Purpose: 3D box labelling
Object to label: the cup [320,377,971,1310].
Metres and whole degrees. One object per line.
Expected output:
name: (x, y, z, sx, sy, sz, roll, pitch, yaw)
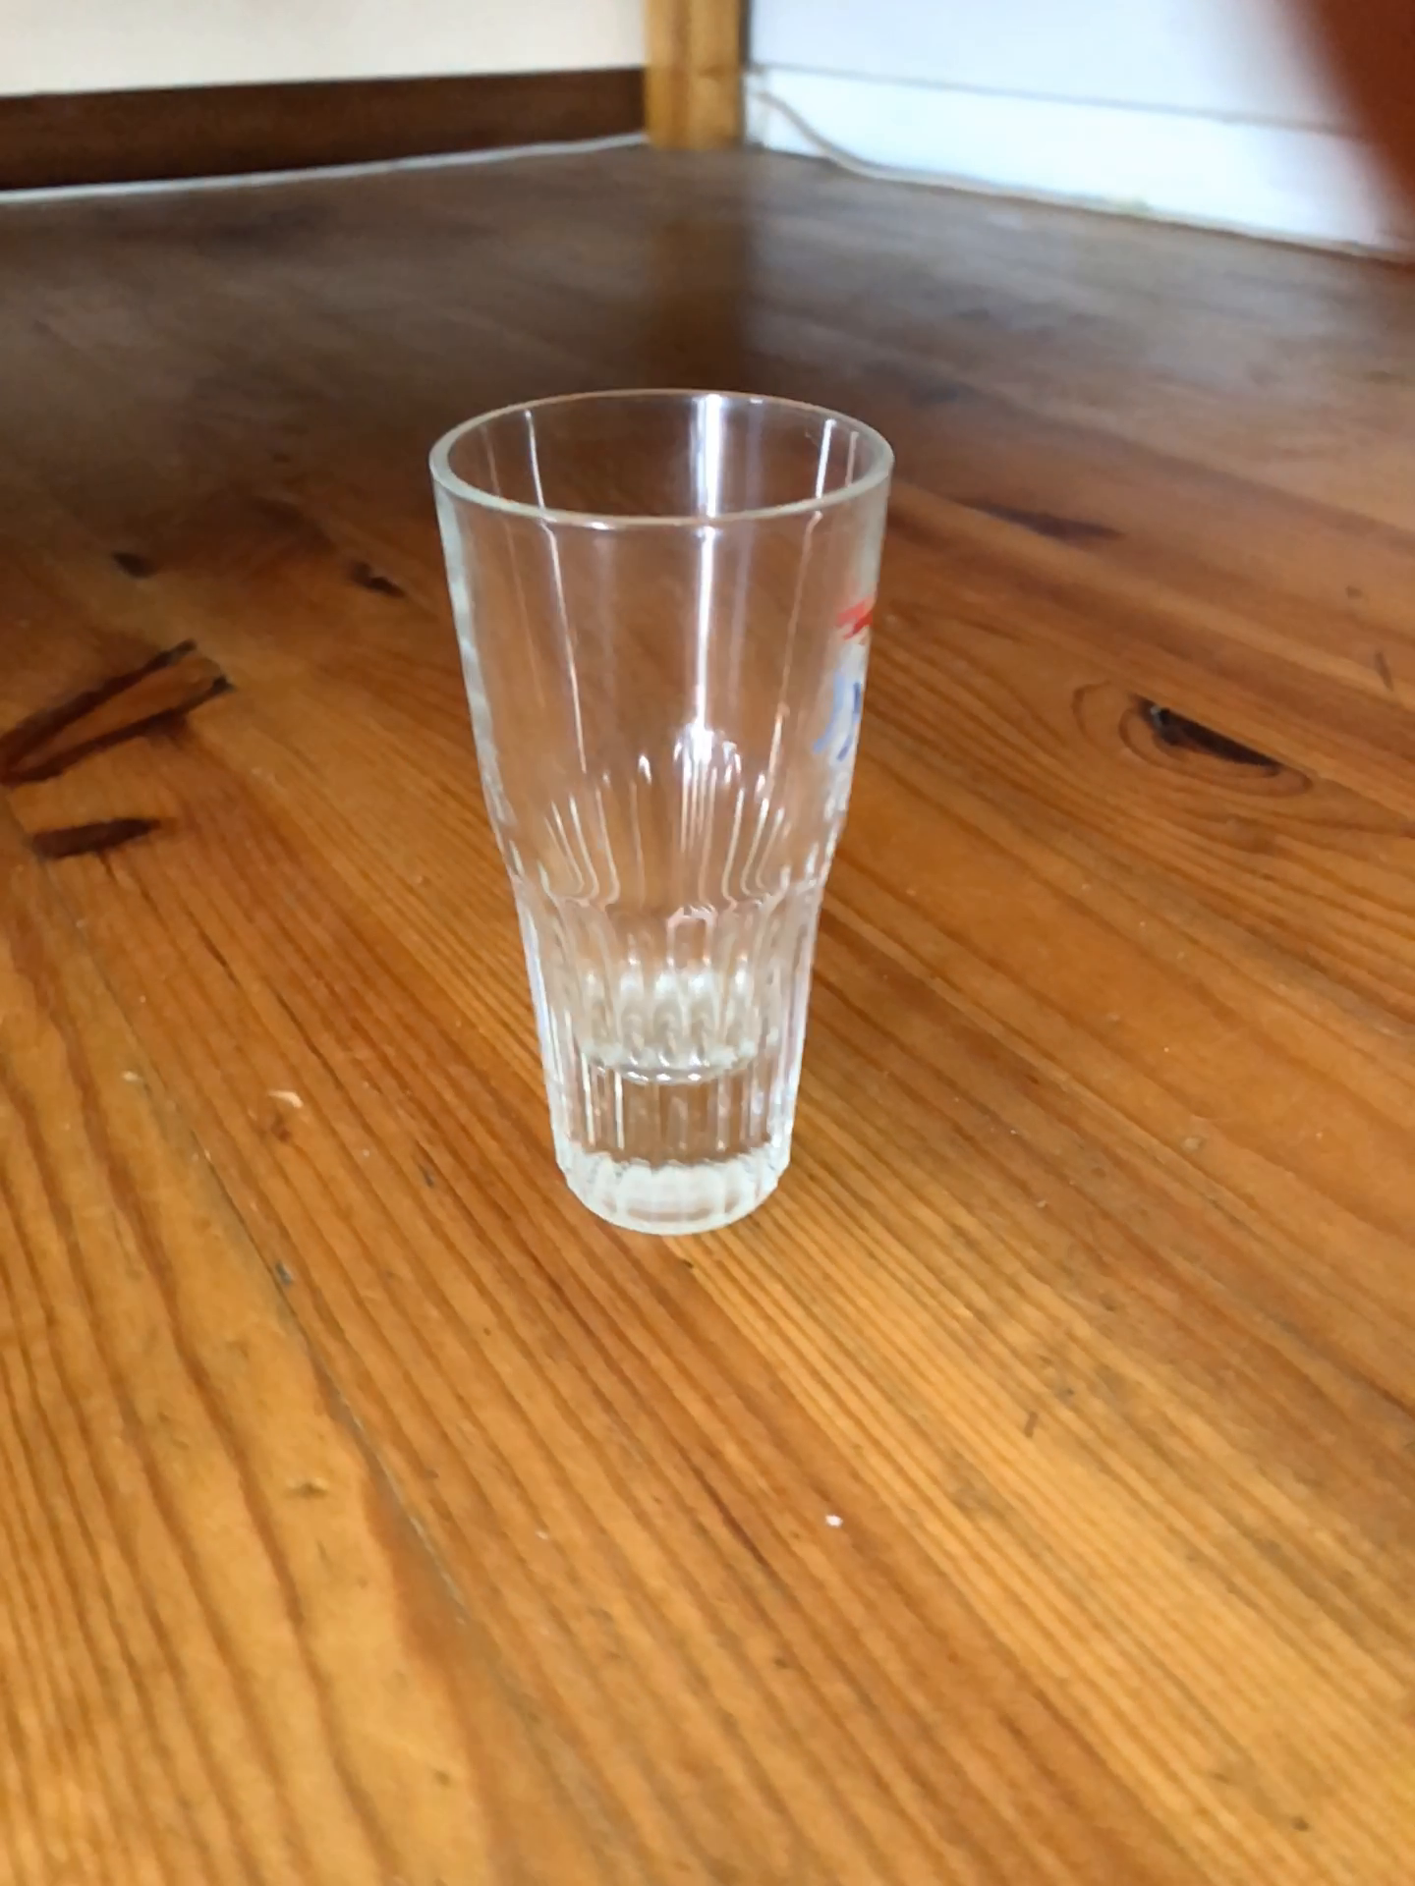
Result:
cup: (-0.005, -0.017, 0.241, 0.068, 0.116, 0.064, 0, 32, 0)
